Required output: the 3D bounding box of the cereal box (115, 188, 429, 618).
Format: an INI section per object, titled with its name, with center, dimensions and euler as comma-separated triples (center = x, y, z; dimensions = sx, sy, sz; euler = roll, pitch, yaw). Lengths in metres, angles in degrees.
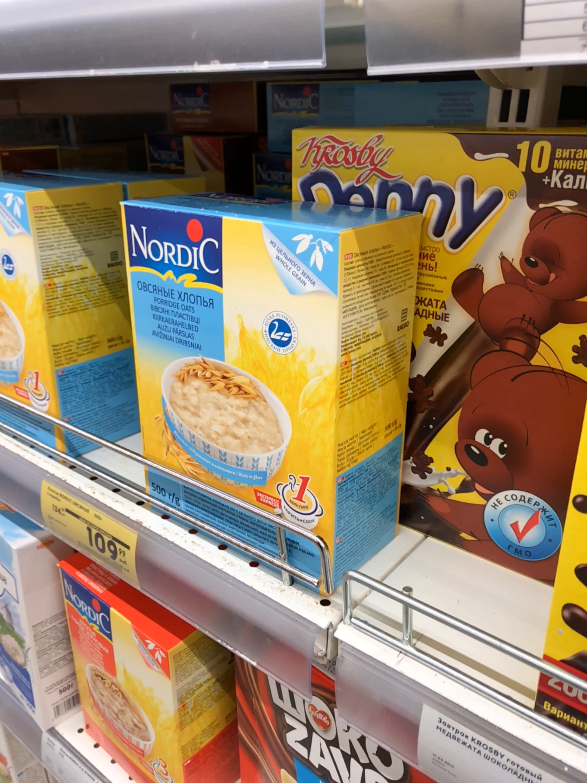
[cereal box]
center = -0.015, -0.004, 0.369
dimensions = 0.150, 0.199, 0.070
euler = 17, 28, 36
